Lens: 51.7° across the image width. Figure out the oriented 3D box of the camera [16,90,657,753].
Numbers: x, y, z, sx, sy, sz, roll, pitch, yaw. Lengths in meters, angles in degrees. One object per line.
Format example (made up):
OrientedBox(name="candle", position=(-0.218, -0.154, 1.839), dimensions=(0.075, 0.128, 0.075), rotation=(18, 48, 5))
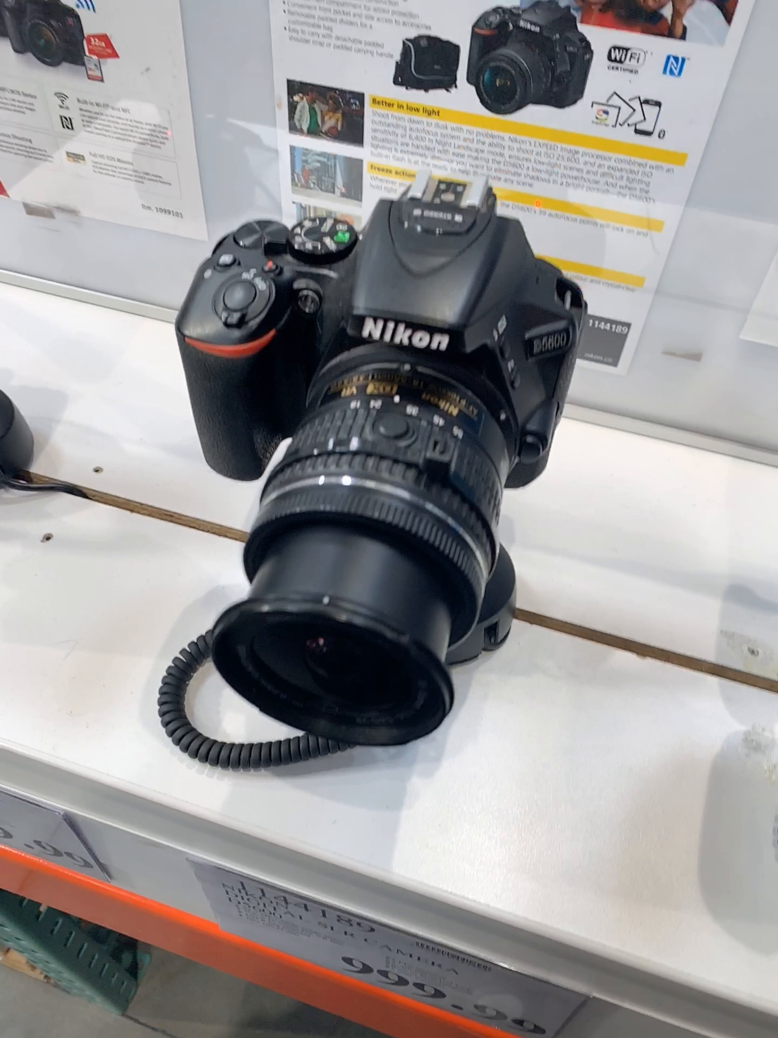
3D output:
OrientedBox(name="camera", position=(0.001, -0.034, 0.217), dimensions=(0.111, 0.090, 0.141), rotation=(12, 49, 8))
